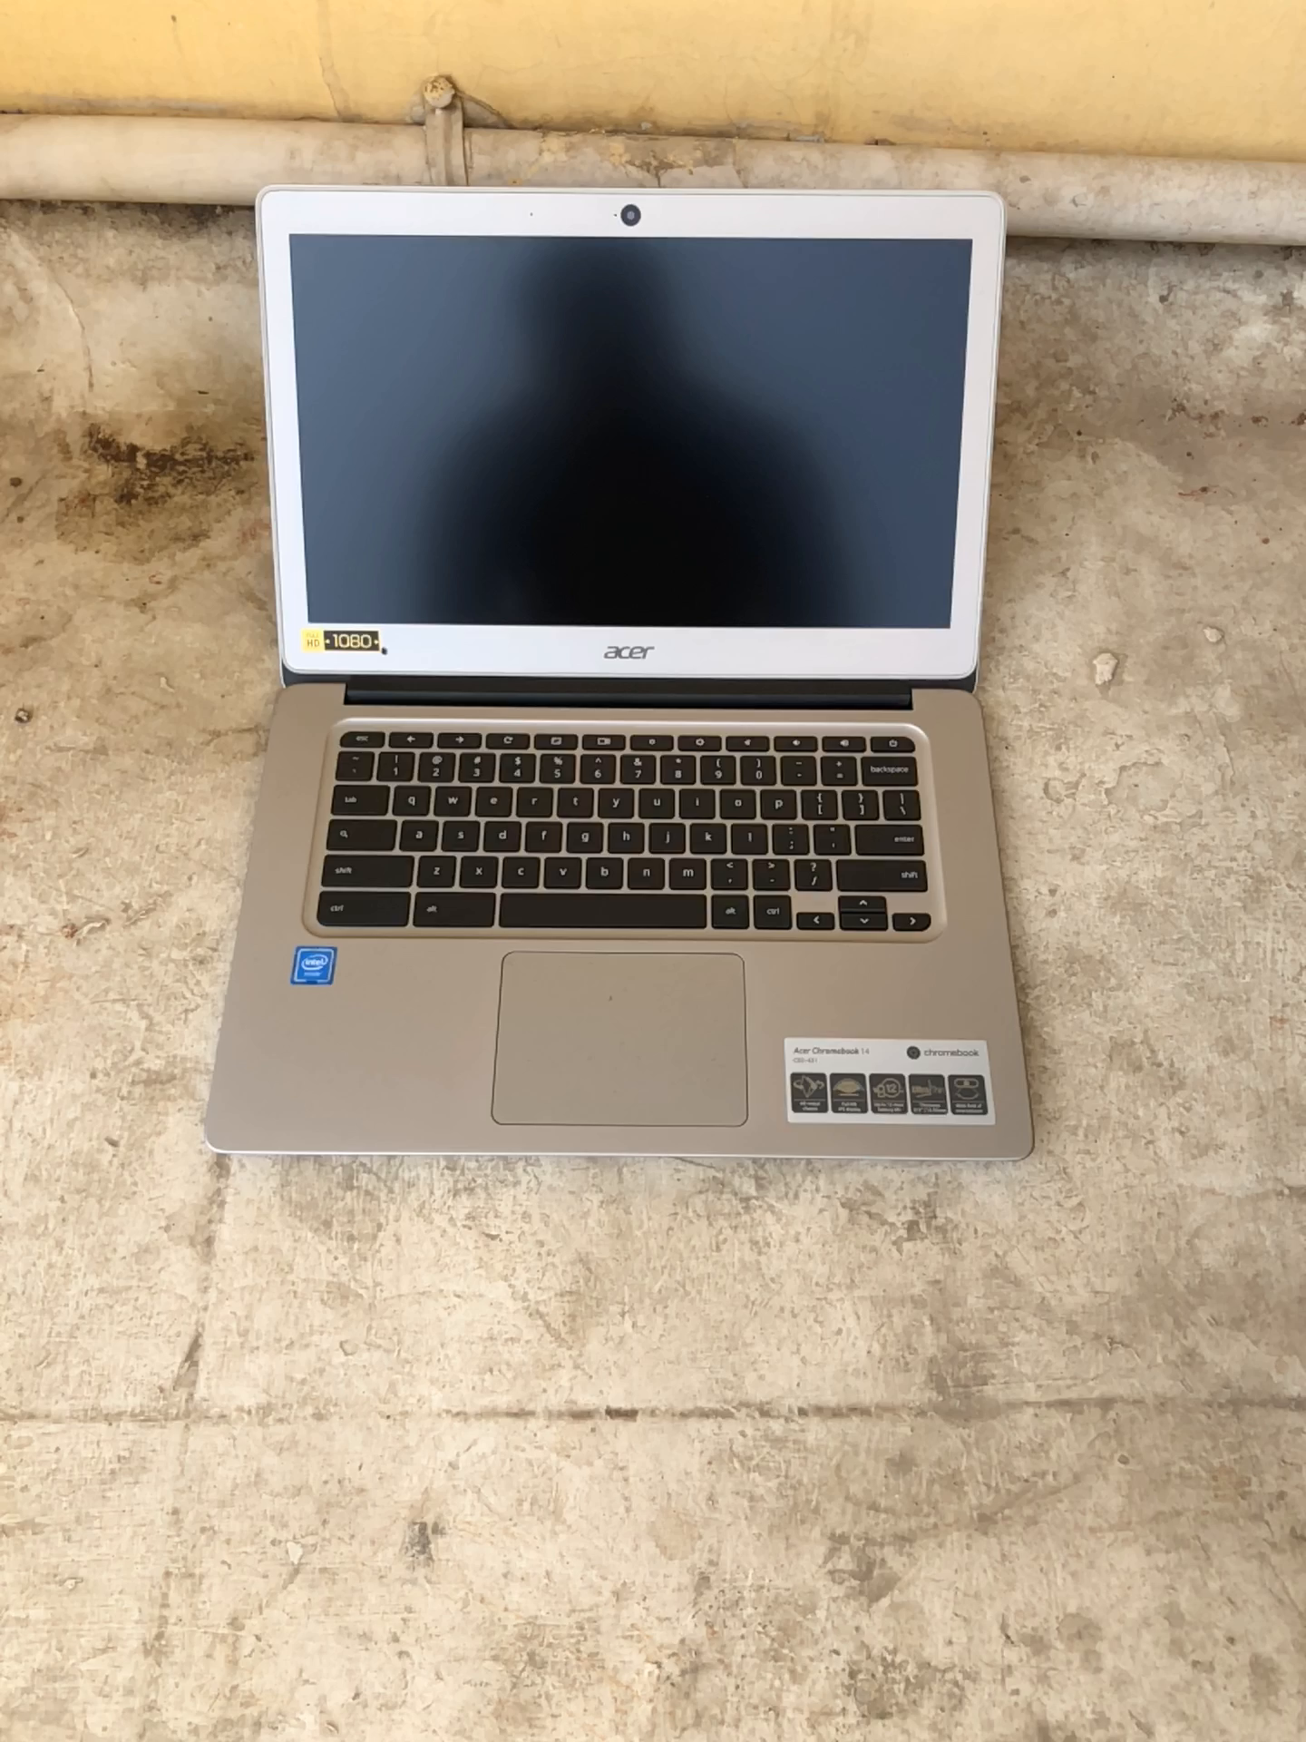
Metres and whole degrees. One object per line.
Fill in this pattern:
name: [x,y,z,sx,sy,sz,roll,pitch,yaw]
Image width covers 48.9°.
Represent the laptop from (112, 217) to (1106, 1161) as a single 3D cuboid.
laptop: [-0.016,-0.085,0.603,0.315,0.136,0.380,0,62,0]
